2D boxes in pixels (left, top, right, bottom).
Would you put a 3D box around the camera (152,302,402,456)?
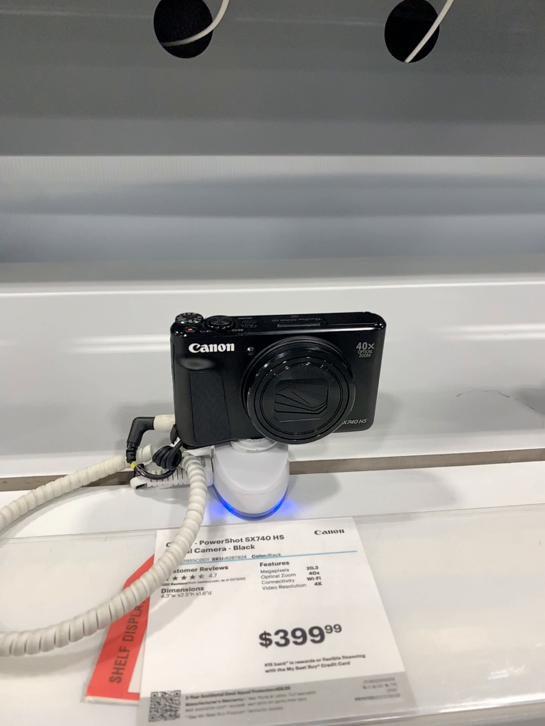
[{"bbox_3d":[0.000,0.007,0.299,0.120,0.063,0.042,-3,27,-9],"label":"camera"}]
